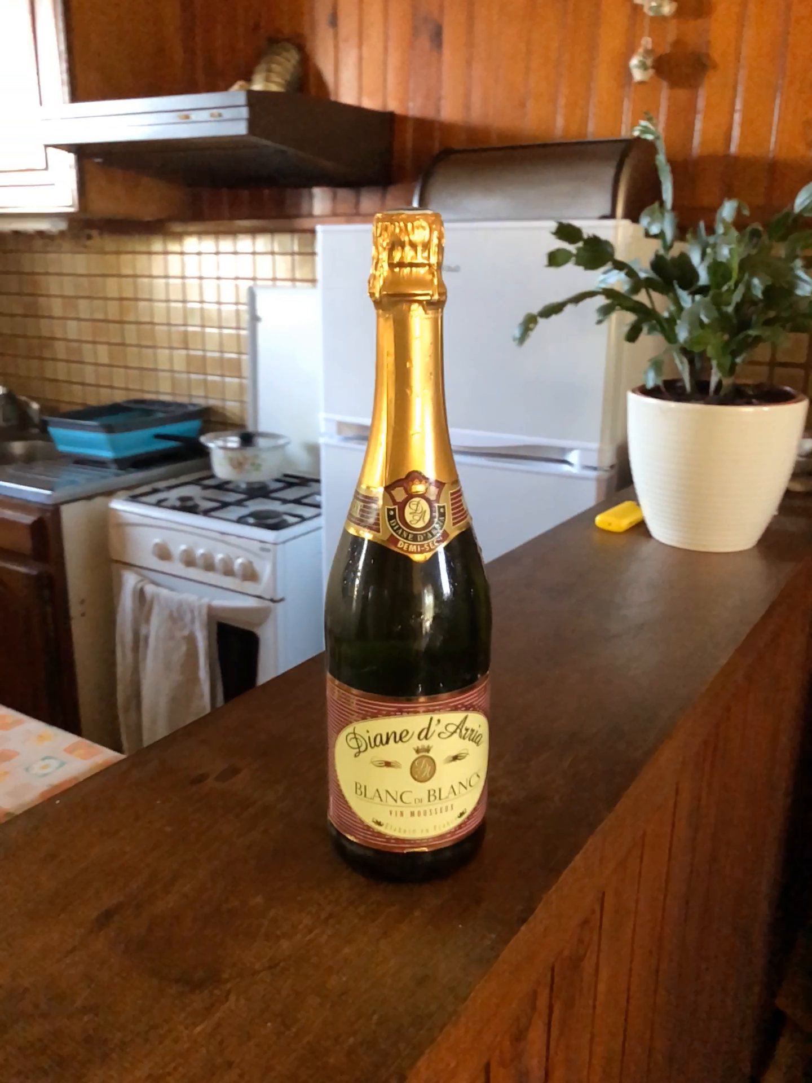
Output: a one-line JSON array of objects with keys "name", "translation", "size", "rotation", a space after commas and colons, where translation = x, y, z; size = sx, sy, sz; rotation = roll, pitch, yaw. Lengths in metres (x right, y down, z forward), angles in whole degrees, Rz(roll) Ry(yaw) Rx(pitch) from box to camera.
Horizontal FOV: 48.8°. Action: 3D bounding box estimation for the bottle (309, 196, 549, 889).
[{"name": "bottle", "translation": [0.003, 0.002, 0.422], "size": [0.090, 0.299, 0.100], "rotation": [0, 16, -5]}]
